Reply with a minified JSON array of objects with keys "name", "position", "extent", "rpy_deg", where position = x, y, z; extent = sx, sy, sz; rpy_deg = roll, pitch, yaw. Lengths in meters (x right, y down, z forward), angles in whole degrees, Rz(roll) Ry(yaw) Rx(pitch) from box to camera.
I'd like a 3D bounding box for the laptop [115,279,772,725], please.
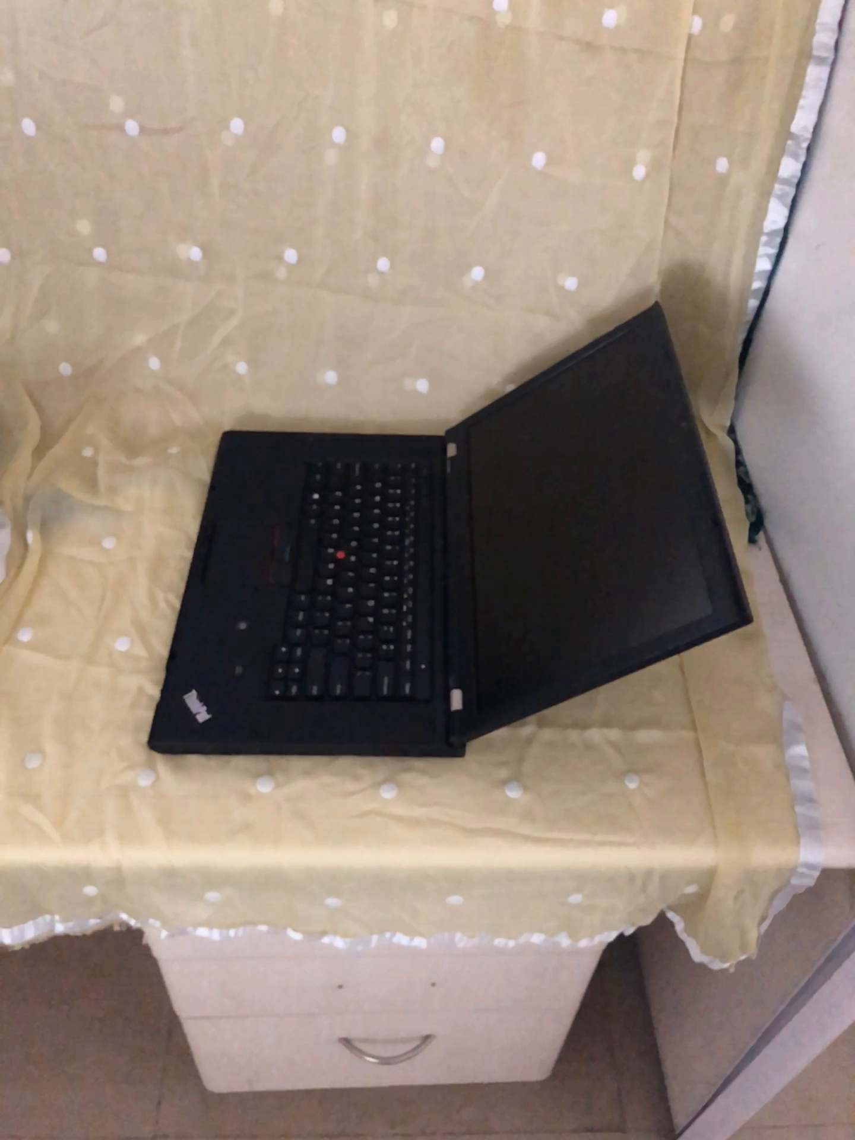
[{"name":"laptop","position":[0.004,-0.069,0.784],"extent":[0.424,0.156,0.349],"rpy_deg":[-1,47,2]}]
